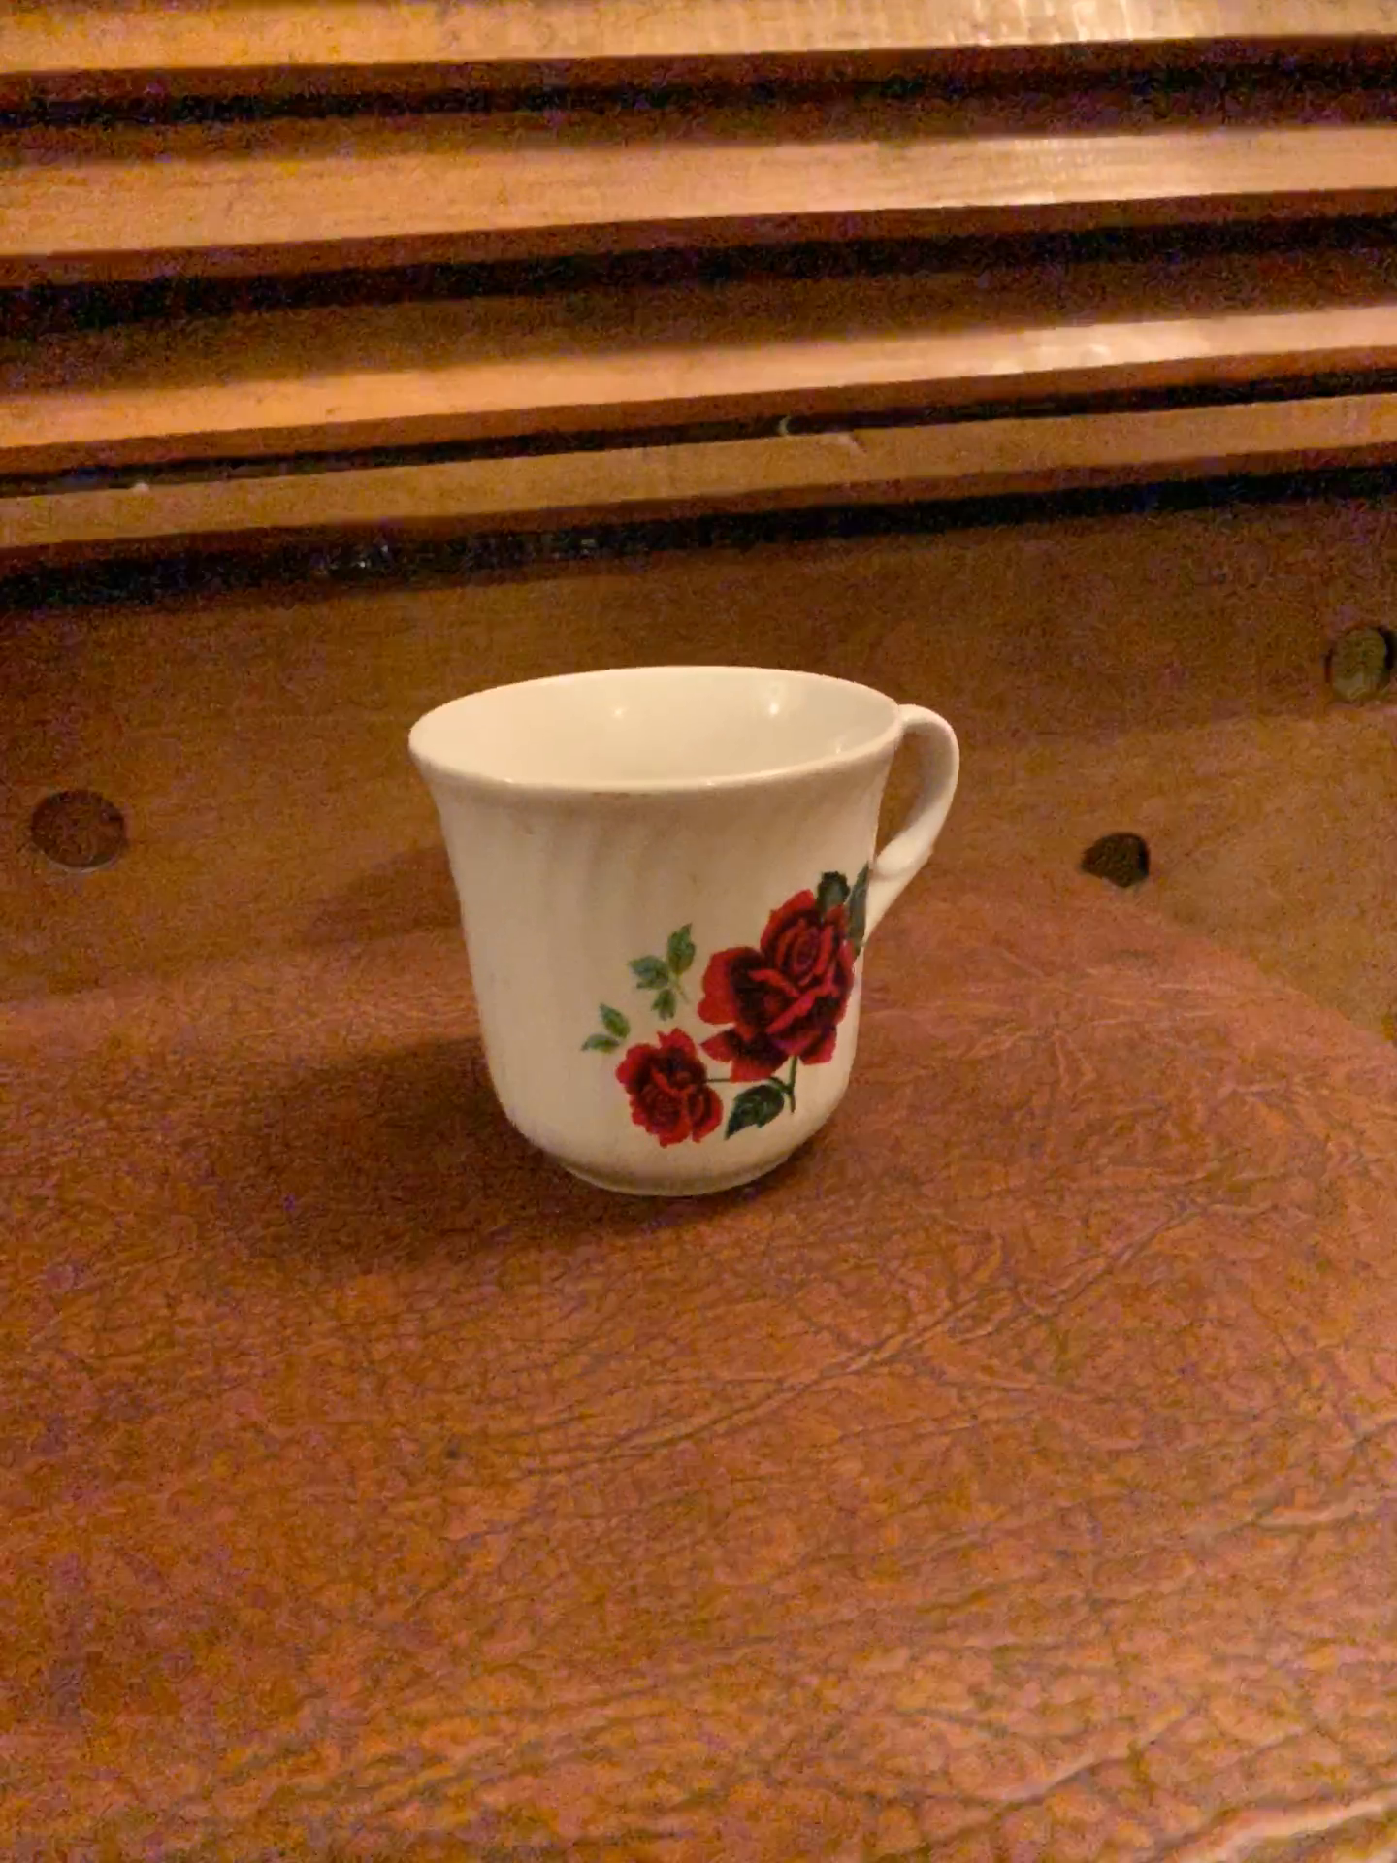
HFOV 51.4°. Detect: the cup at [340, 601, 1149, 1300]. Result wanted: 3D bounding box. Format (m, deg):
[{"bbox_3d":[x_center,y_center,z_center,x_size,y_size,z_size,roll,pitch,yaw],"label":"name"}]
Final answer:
[{"bbox_3d":[0.011,-0.009,0.263,0.112,0.082,0.085,-19,24,-36],"label":"cup"}]
